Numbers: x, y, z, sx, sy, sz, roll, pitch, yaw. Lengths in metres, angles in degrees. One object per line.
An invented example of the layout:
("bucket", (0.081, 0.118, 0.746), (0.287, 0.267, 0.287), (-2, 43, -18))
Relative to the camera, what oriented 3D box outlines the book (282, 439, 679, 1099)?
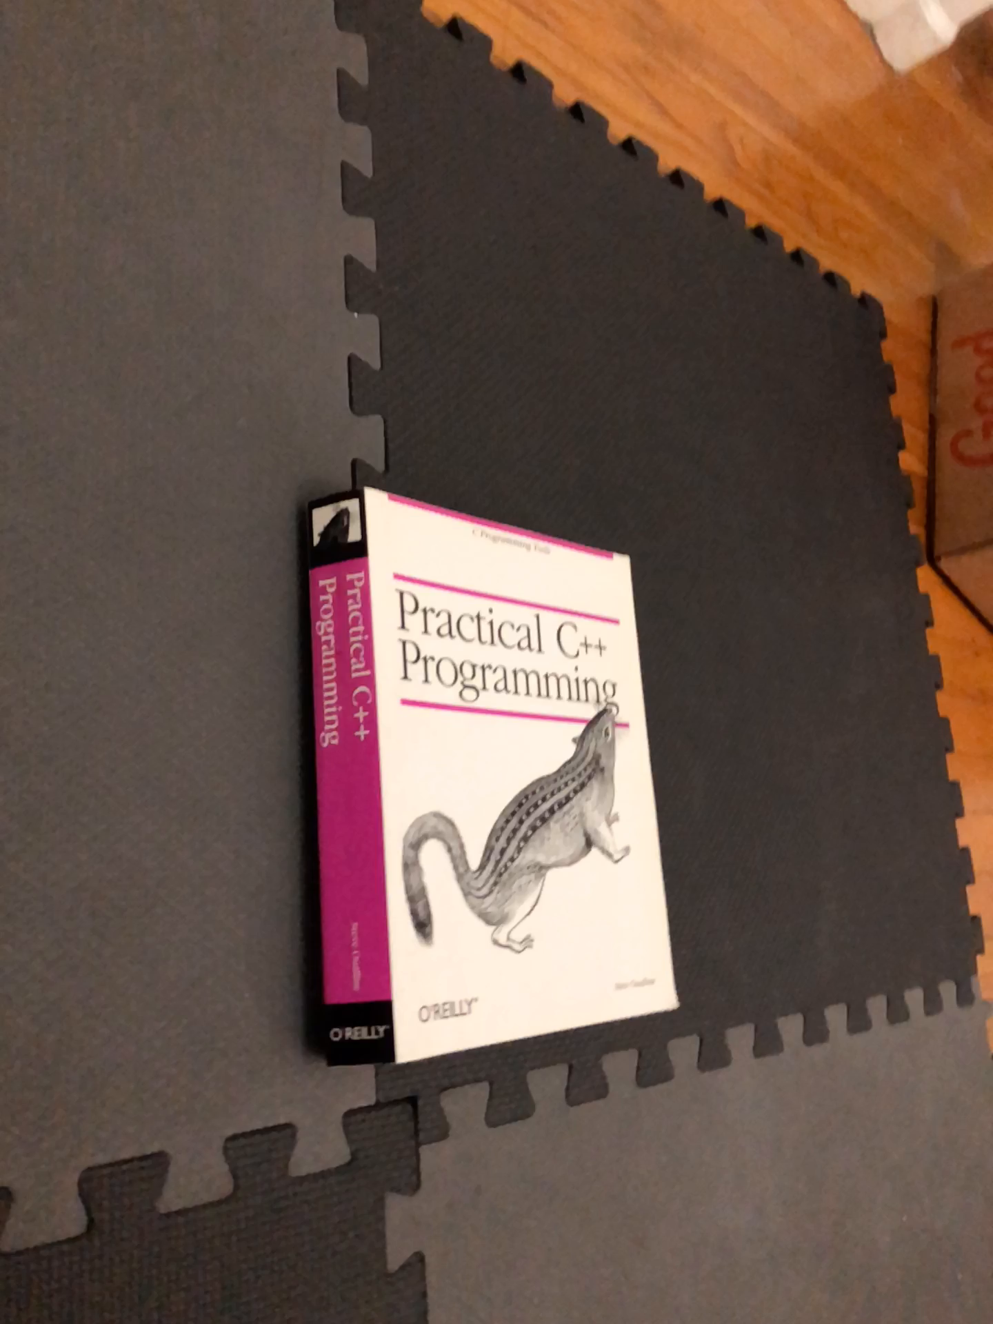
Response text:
("book", (-0.001, 0.049, 0.502), (0.201, 0.050, 0.250), (11, 70, -49))
